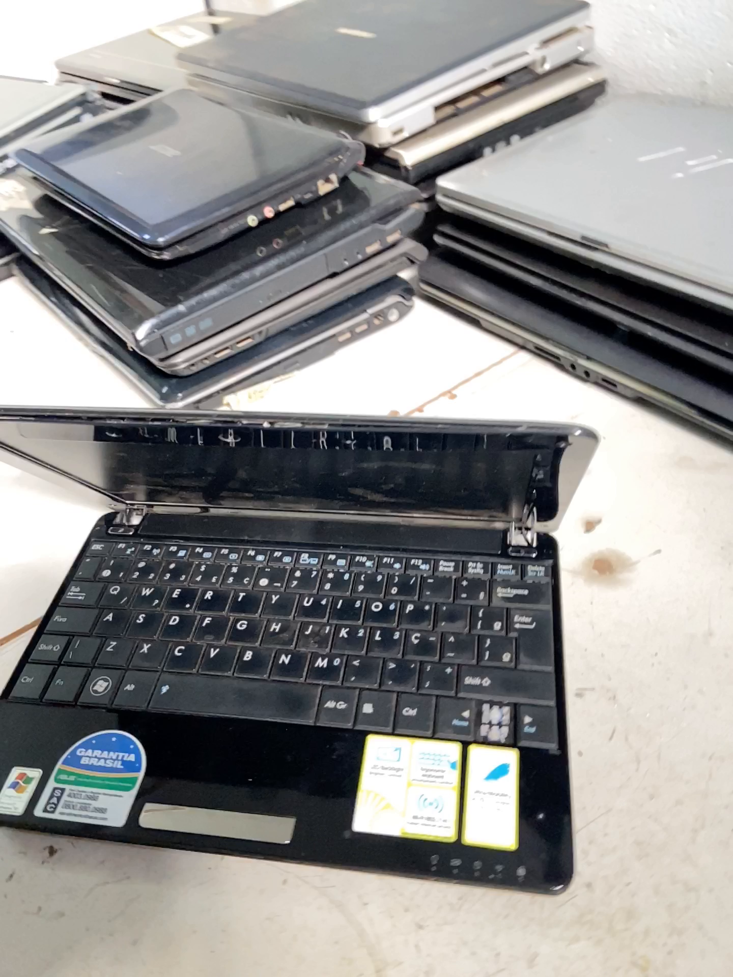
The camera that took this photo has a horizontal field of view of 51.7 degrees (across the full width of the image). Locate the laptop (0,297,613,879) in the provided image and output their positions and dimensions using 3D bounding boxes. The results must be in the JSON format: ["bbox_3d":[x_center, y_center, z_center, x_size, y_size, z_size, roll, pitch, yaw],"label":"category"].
[{"bbox_3d":[-0.046,0.027,0.322,0.262,0.137,0.168,3,43,11],"label":"laptop"}]
